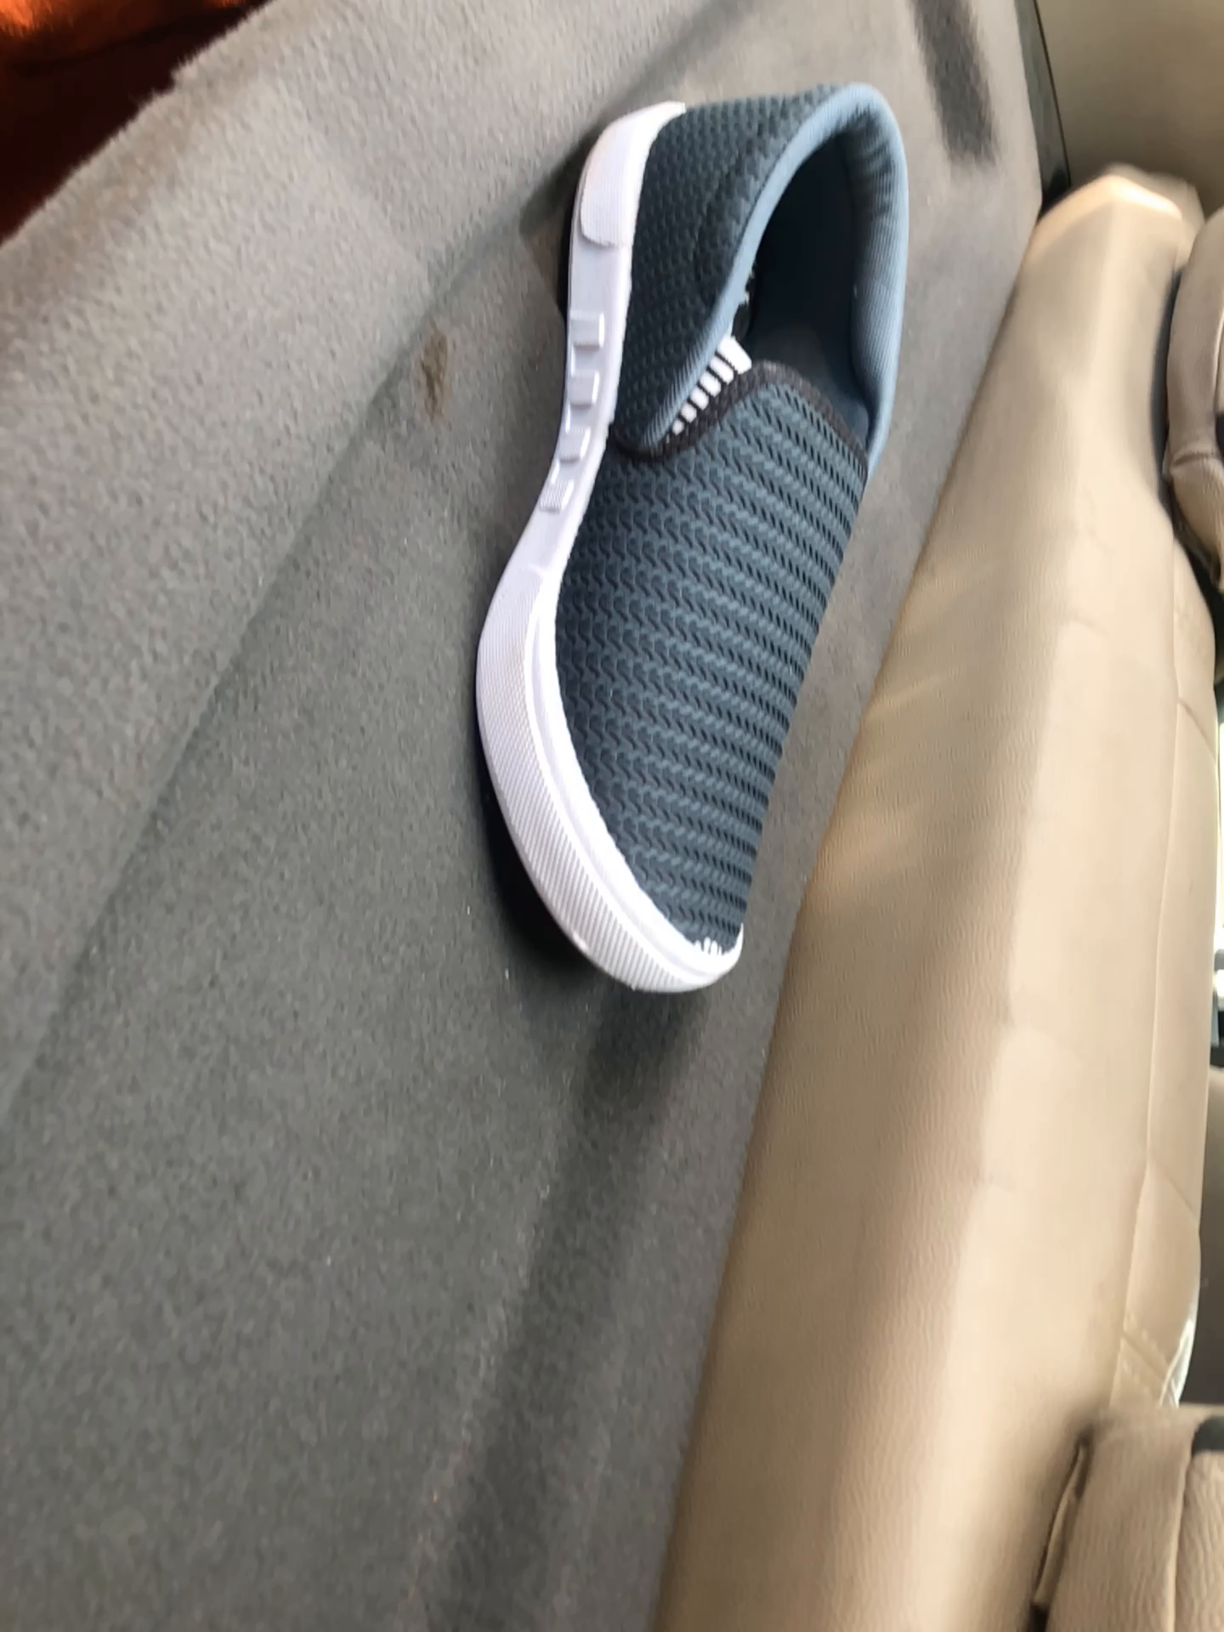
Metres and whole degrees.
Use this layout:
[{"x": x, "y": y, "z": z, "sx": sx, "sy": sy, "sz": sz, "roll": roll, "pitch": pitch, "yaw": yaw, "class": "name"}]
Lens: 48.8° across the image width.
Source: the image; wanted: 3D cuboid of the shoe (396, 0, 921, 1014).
[{"x": 0.025, "y": -0.091, "z": 0.391, "sx": 0.081, "sy": 0.089, "sz": 0.280, "roll": 40, "pitch": 54, "yaw": -54, "class": "shoe"}]
